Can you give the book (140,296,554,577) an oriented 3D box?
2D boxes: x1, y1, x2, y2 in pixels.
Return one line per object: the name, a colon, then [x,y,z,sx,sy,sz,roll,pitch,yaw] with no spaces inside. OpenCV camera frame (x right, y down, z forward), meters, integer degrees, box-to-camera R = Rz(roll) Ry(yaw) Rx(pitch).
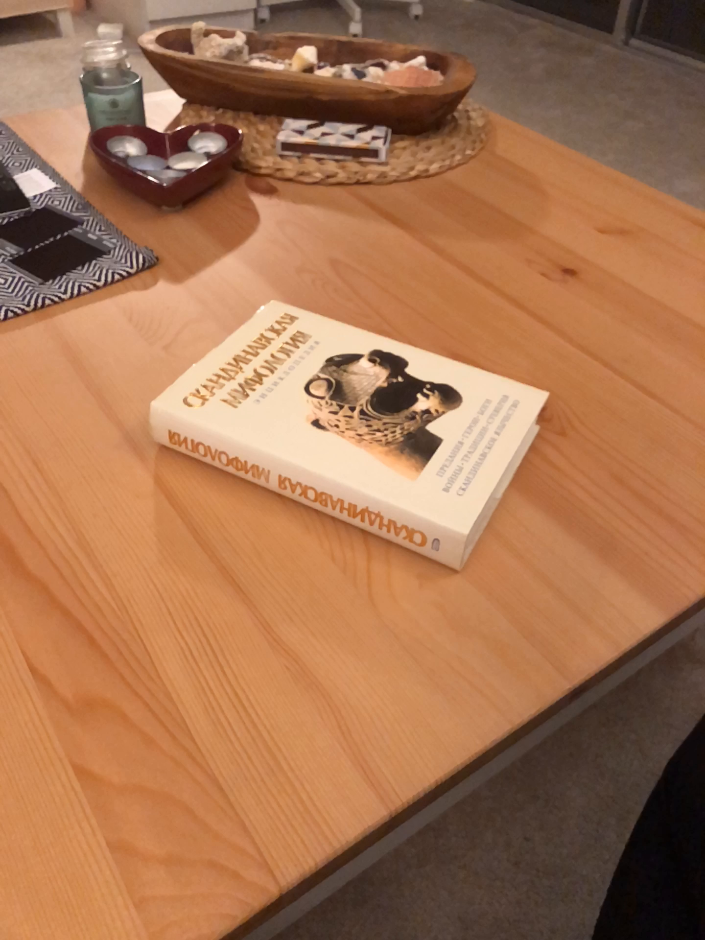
book: [0.000,-0.035,0.502,0.215,0.030,0.151,22,46,18]
